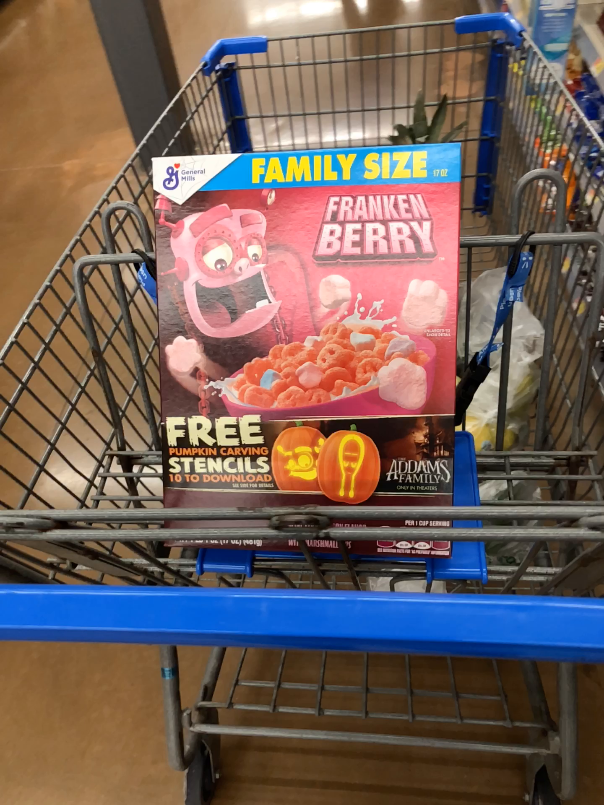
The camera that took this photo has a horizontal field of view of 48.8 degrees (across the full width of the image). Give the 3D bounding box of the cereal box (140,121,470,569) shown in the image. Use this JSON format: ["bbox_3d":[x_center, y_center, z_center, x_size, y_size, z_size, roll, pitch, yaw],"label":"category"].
[{"bbox_3d":[0.005,-0.040,0.531,0.240,0.320,0.070,0,7,10],"label":"cereal box"}]
